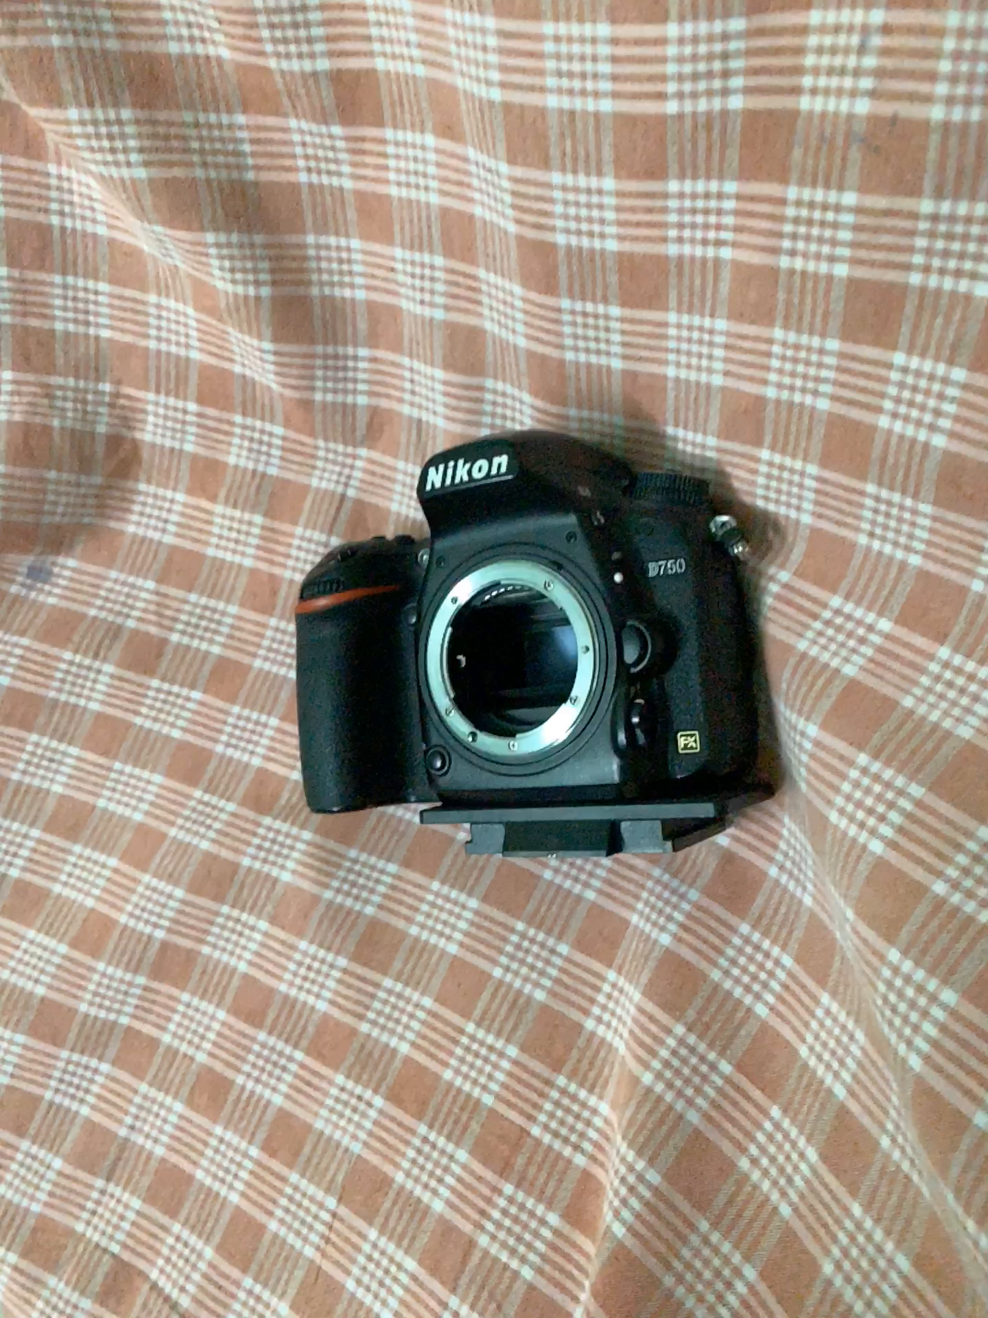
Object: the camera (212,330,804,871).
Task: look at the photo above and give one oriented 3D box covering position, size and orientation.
[{"bbox_3d":[0.004,-0.007,0.307,0.145,0.085,0.125,-7,87,28],"label":"camera"}]
